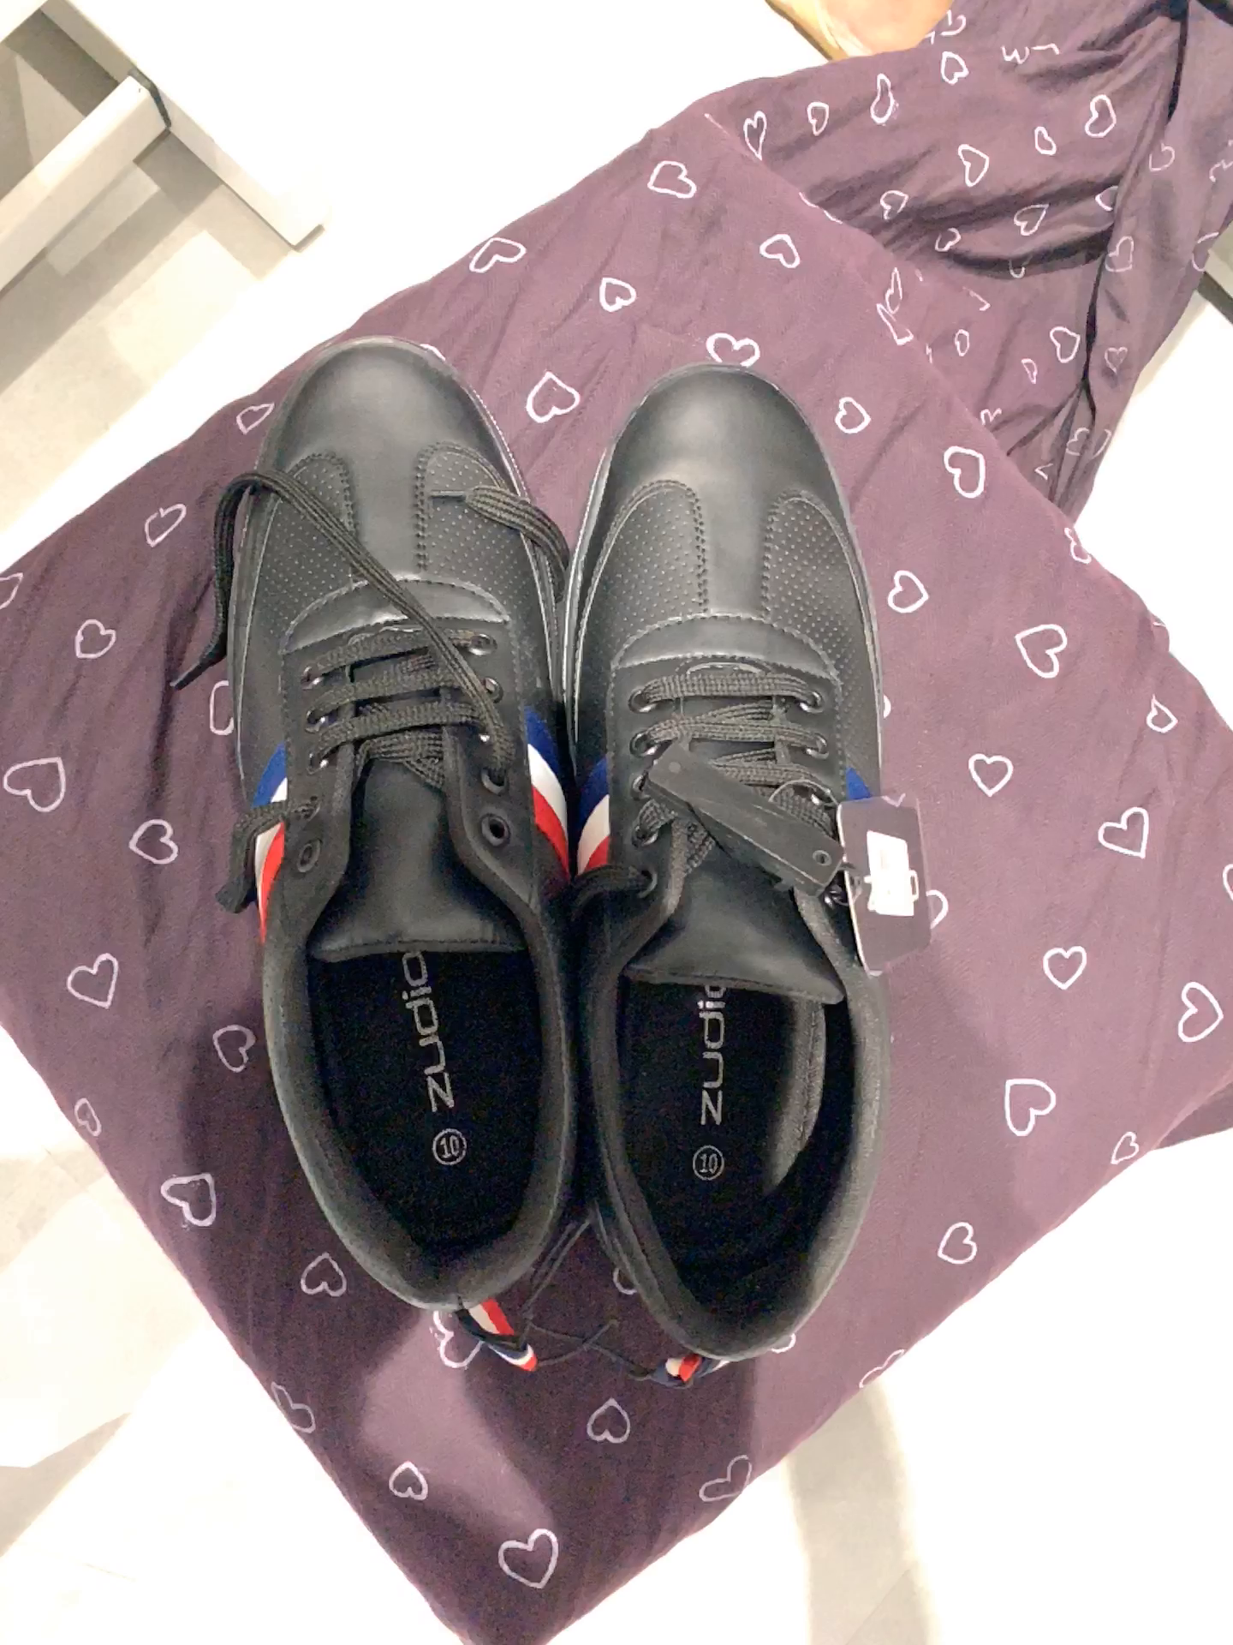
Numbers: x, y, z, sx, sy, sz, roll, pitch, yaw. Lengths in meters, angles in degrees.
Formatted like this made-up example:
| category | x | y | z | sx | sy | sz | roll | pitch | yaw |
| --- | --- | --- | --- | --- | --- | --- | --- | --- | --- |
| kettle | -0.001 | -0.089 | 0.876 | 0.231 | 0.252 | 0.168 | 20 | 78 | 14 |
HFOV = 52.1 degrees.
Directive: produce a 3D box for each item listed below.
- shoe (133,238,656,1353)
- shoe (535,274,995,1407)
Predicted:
| category | x | y | z | sx | sy | sz | roll | pitch | yaw |
| --- | --- | --- | --- | --- | --- | --- | --- | --- | --- |
| shoe | -0.069 | -0.012 | 0.403 | 0.120 | 0.090 | 0.310 | -6 | 82 | -4 |
| shoe | 0.034 | 0.000 | 0.374 | 0.110 | 0.080 | 0.300 | -1 | 82 | -3 |
